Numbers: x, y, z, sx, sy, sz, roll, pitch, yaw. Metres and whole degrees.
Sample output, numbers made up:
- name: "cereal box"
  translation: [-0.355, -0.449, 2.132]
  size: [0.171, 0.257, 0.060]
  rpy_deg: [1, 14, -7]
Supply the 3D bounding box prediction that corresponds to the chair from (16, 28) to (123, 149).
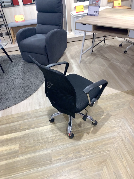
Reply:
- name: "chair"
  translation: [0.036, -0.036, 1.393]
  size: [0.602, 0.865, 0.642]
  rpy_deg: [-34, 48, -29]
